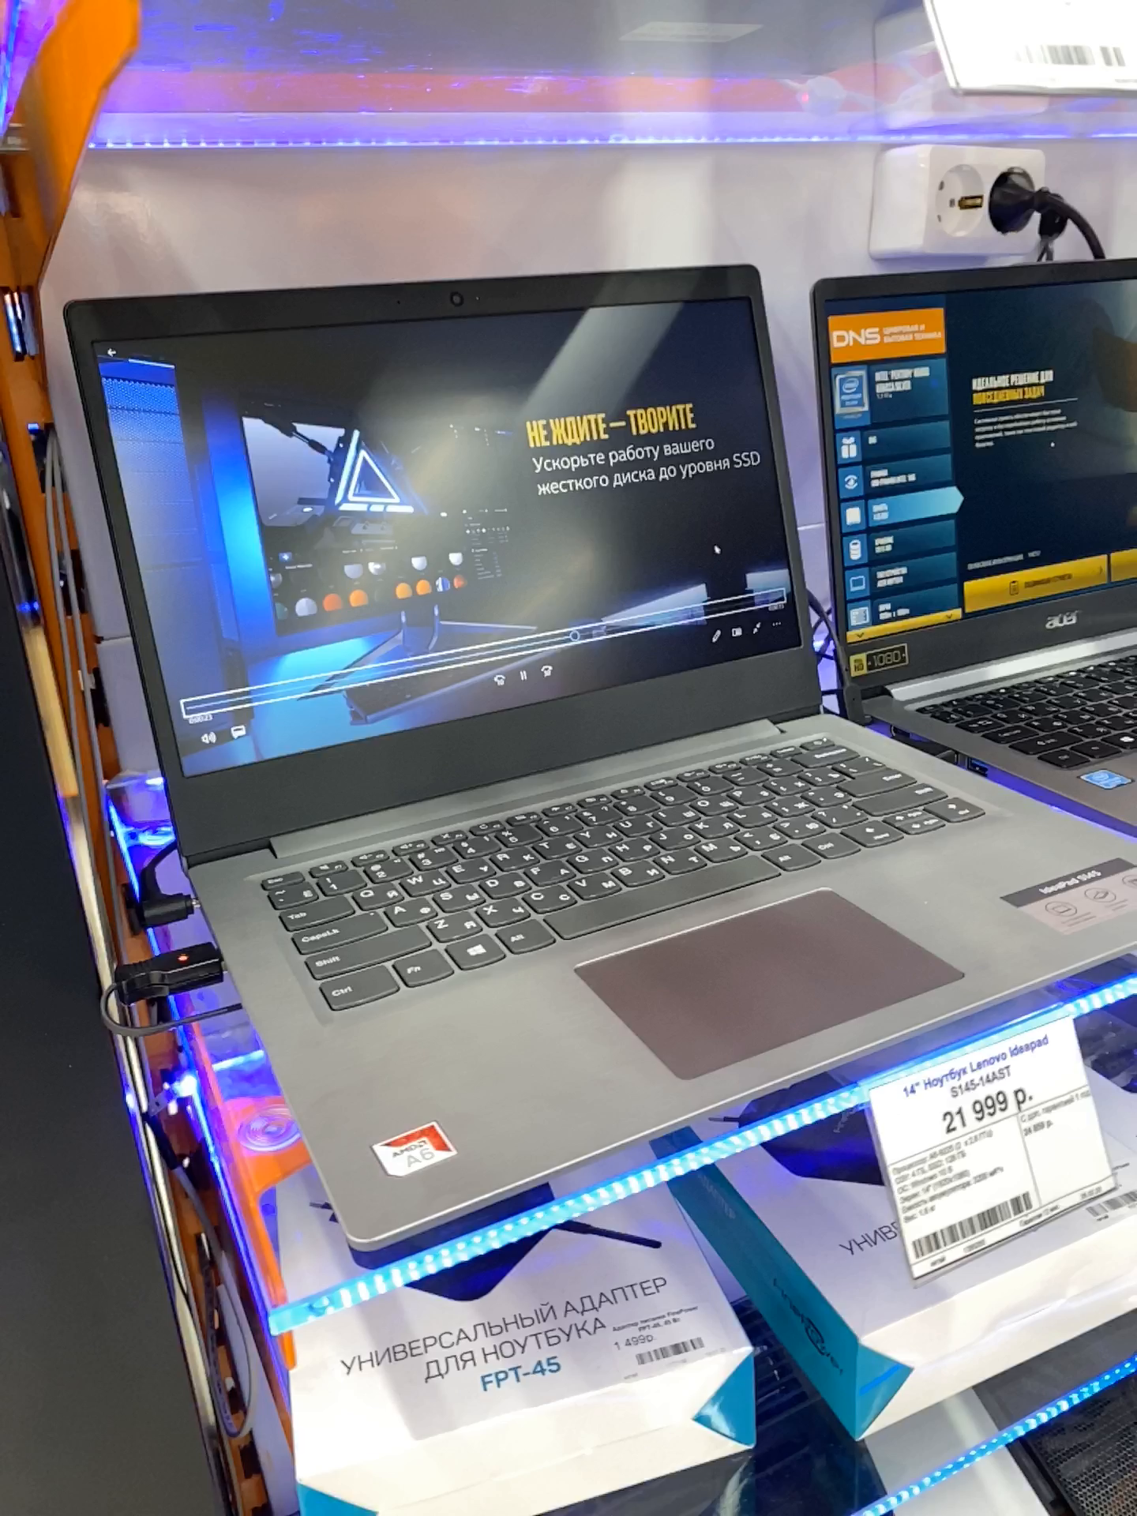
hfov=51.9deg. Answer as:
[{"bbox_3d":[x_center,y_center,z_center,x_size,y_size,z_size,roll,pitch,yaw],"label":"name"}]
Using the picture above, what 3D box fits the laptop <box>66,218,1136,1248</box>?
[{"bbox_3d":[0.022,-0.064,0.433,0.327,0.215,0.304,-13,24,-23],"label":"laptop"}]
